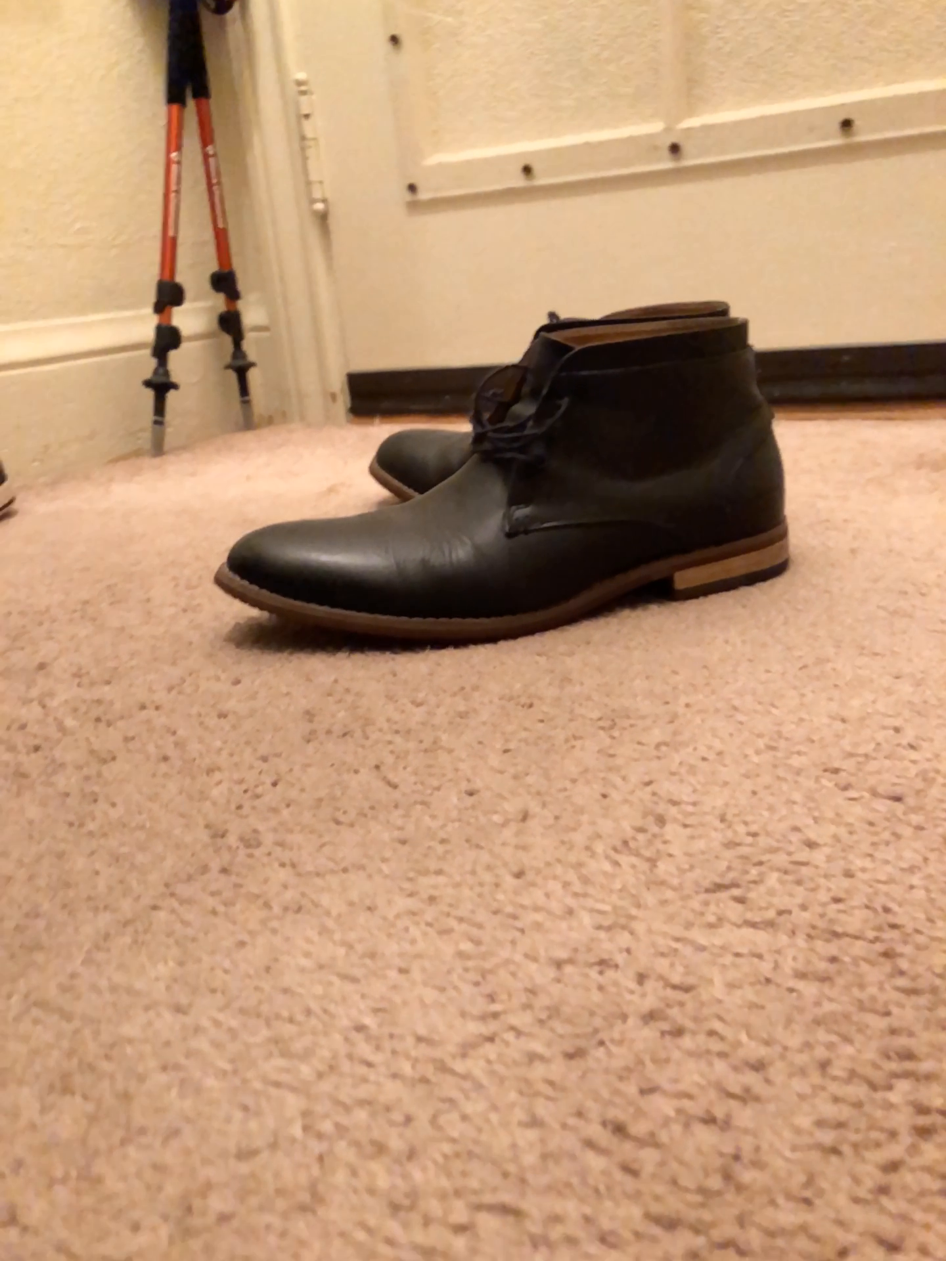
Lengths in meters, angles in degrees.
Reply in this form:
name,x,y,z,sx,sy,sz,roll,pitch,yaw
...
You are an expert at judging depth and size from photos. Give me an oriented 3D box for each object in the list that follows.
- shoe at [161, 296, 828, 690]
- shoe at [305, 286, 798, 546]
name,x,y,z,sx,sy,sz,roll,pitch,yaw
shoe,0.011,-0.082,0.527,0.302,0.135,0.117,-11,20,-14
shoe,0.050,-0.147,0.706,0.302,0.135,0.117,7,23,31
